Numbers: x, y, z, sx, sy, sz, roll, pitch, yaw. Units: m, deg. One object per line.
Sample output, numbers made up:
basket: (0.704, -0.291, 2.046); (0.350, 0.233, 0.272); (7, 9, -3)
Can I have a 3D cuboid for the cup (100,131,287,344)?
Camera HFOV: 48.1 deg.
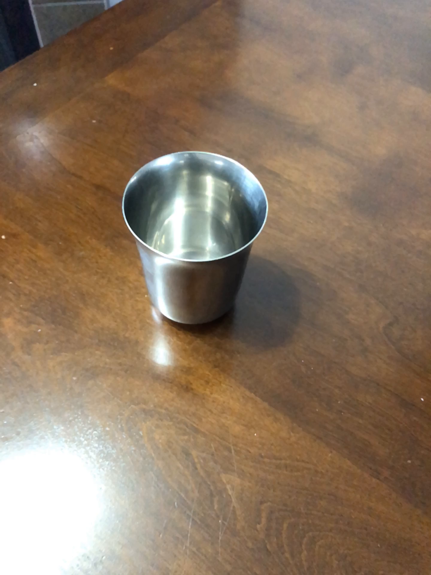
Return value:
cup: (-0.011, -0.029, 0.297); (0.080, 0.080, 0.080); (2, 57, -2)
